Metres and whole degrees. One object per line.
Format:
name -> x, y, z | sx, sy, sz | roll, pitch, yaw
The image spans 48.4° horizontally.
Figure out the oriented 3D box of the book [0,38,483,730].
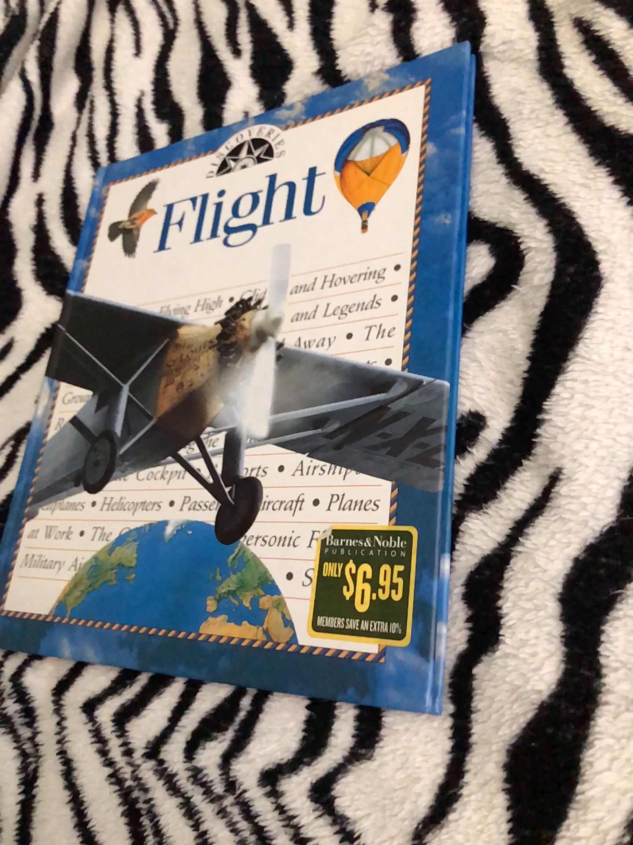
book -> -0.053, -0.029, 0.354 | 0.259, 0.020, 0.301 | -4, 68, 29
